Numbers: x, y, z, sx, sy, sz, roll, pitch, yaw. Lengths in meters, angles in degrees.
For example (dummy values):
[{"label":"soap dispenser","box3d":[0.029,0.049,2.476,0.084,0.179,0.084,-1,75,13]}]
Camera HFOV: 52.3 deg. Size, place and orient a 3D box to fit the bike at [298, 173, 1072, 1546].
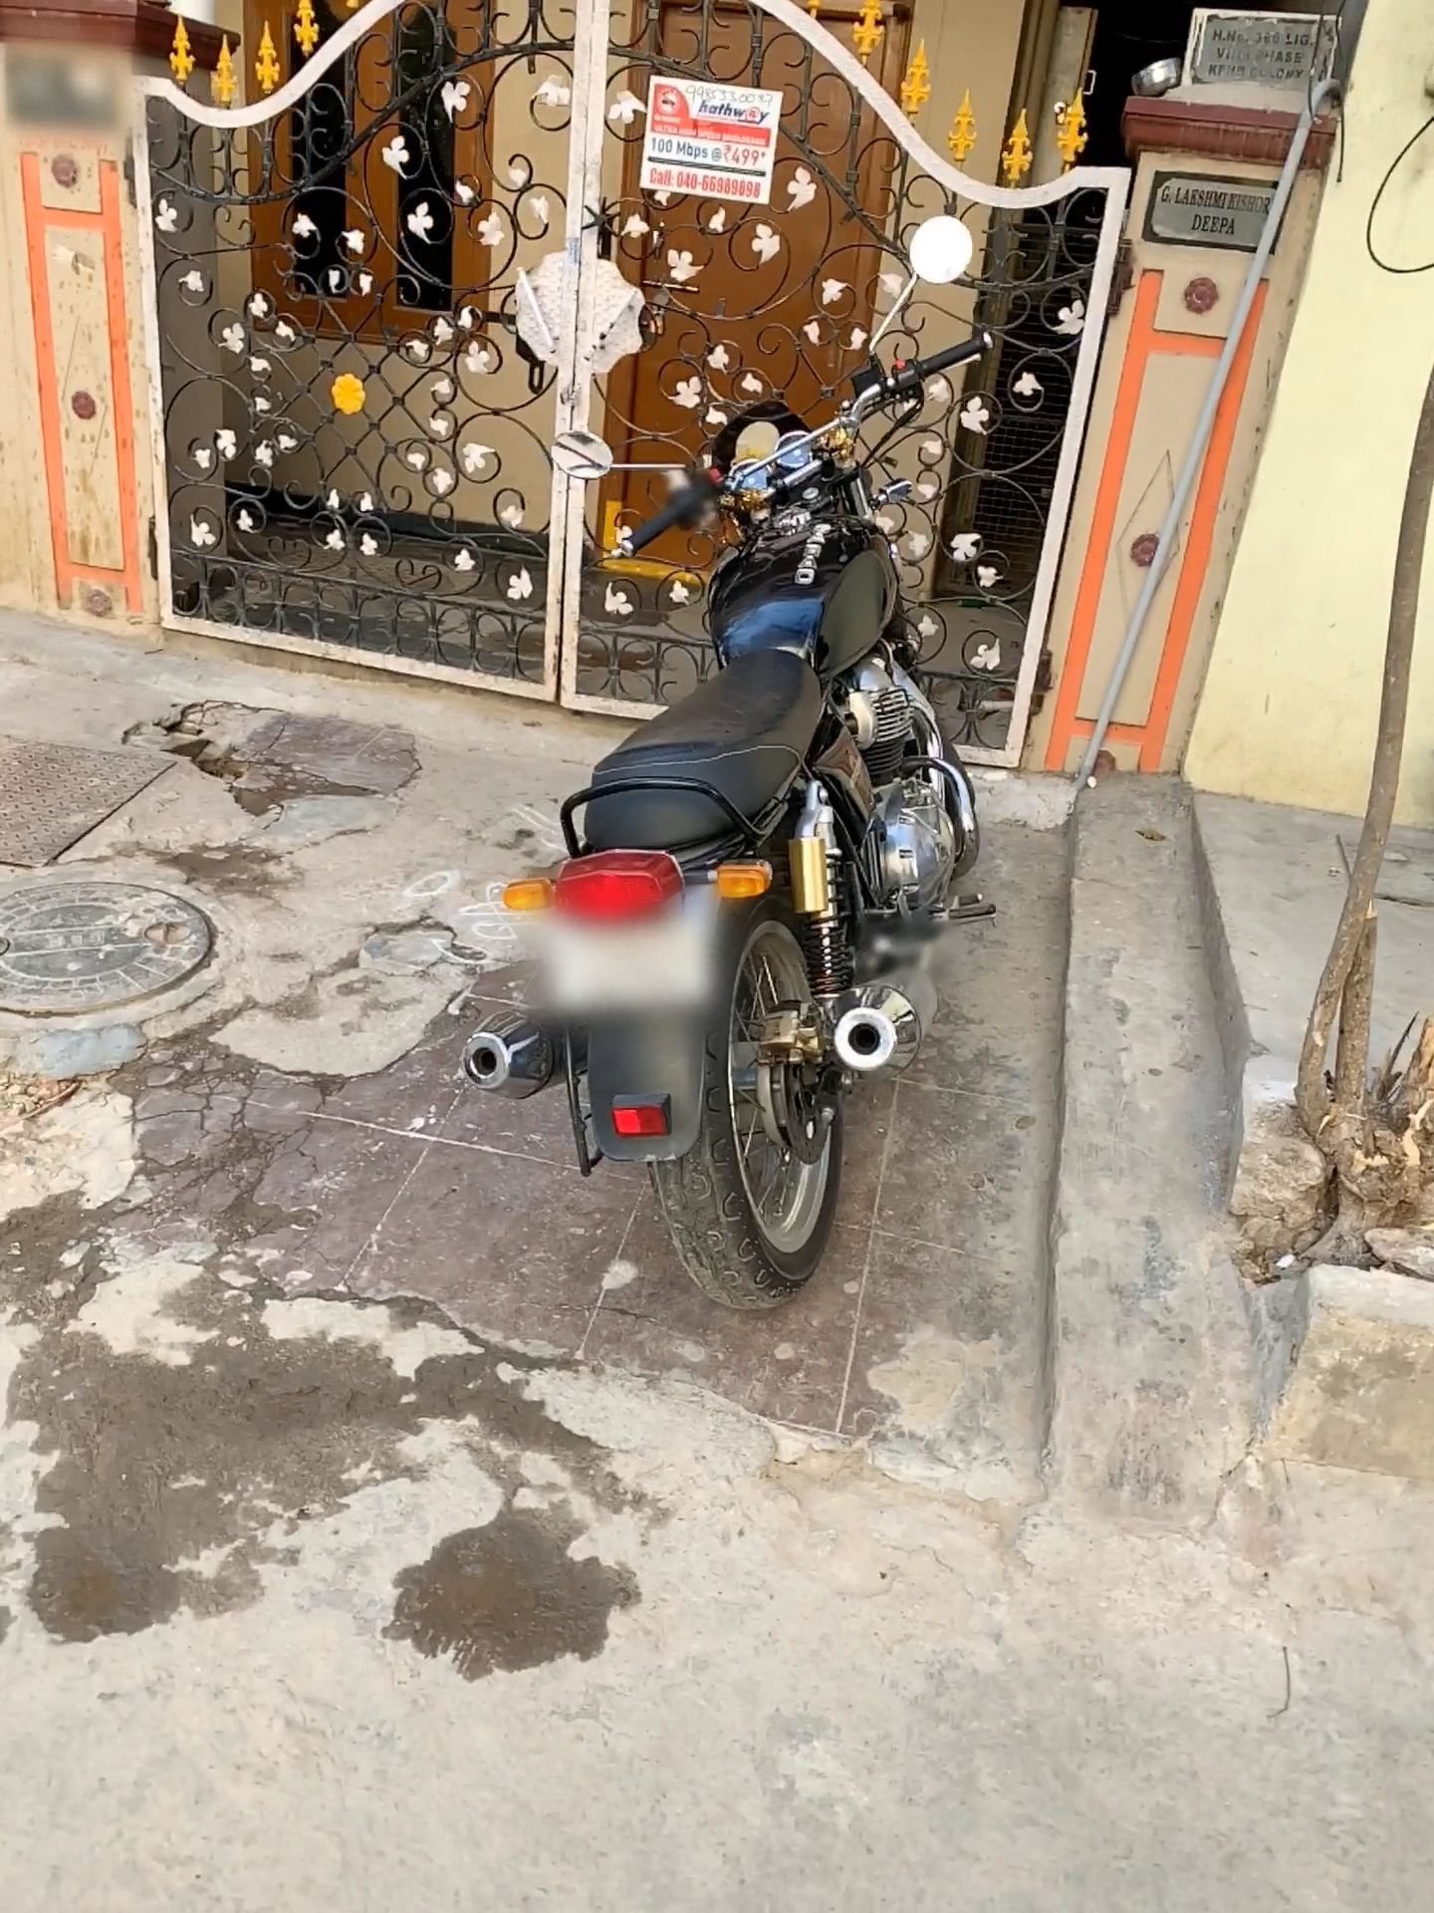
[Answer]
[{"label":"bike","box3d":[-0.007,-0.429,2.584,0.791,1.522,1.913,8,29,4]}]
